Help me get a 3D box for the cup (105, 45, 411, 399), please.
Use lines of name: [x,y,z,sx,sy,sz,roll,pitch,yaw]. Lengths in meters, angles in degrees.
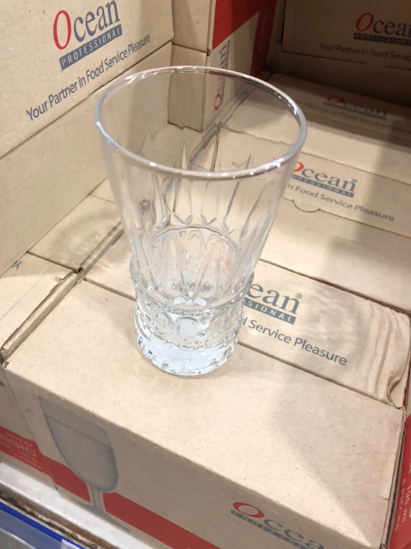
cup: [0.010,-0.024,0.225,0.100,0.129,0.100,3,46,-3]
